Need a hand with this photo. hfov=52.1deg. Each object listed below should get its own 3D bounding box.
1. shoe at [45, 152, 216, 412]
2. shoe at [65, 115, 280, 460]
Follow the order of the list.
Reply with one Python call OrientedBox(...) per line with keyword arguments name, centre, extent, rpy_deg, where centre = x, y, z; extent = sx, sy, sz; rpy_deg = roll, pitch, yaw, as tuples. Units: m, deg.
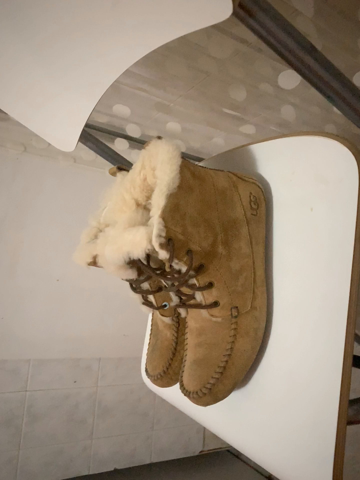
OrientedBox(name="shoe", centre=(-0.056, 0.050, 0.442), extent=(0.107, 0.155, 0.251), rpy_deg=(-12, 72, 58))
OrientedBox(name="shoe", centre=(-0.004, 0.042, 0.357), extent=(0.114, 0.156, 0.251), rpy_deg=(-12, 72, 58))
